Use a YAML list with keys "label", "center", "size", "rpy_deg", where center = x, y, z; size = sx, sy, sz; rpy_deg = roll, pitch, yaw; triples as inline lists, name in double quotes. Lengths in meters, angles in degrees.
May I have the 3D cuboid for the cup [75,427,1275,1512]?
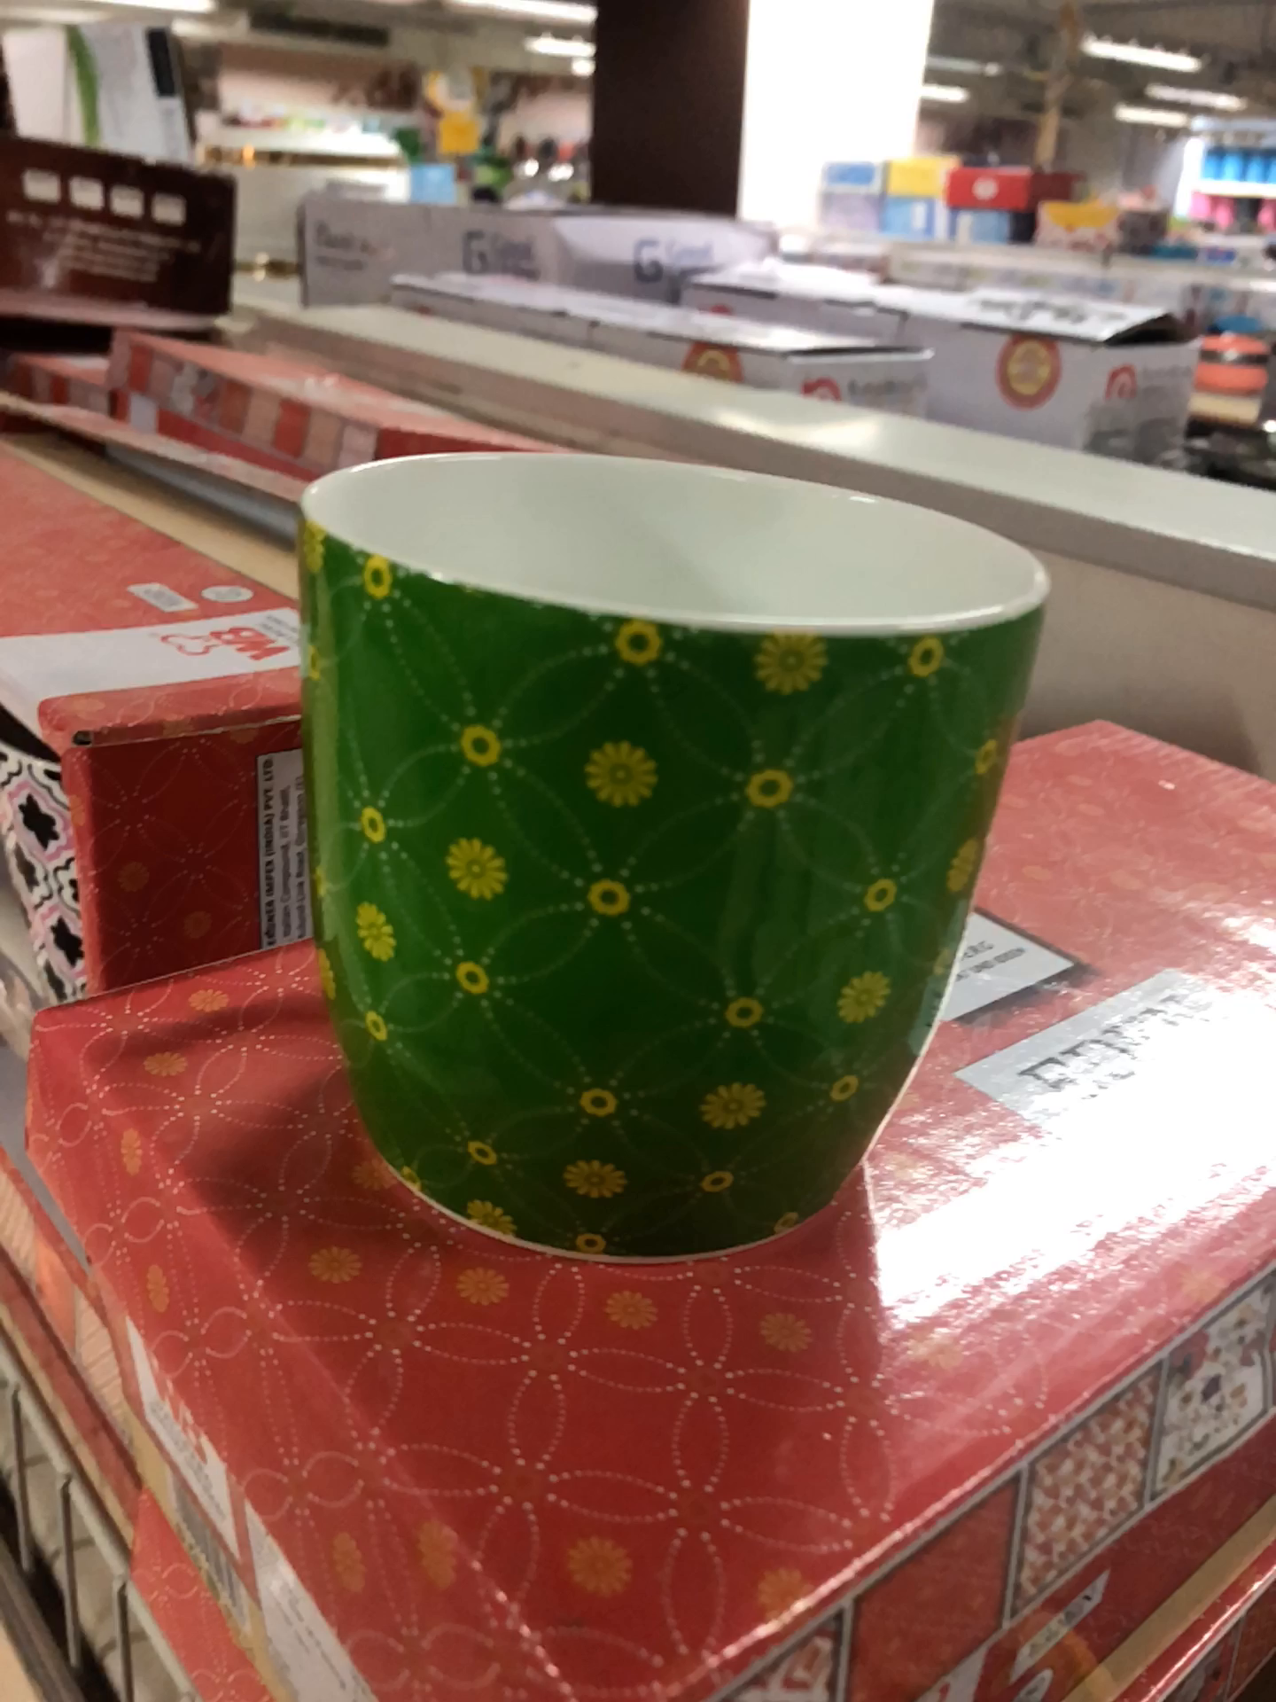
- label: "cup"
  center: [-0.004, -0.005, 0.188]
  size: [0.090, 0.080, 0.120]
  rpy_deg: [-14, 30, -37]
